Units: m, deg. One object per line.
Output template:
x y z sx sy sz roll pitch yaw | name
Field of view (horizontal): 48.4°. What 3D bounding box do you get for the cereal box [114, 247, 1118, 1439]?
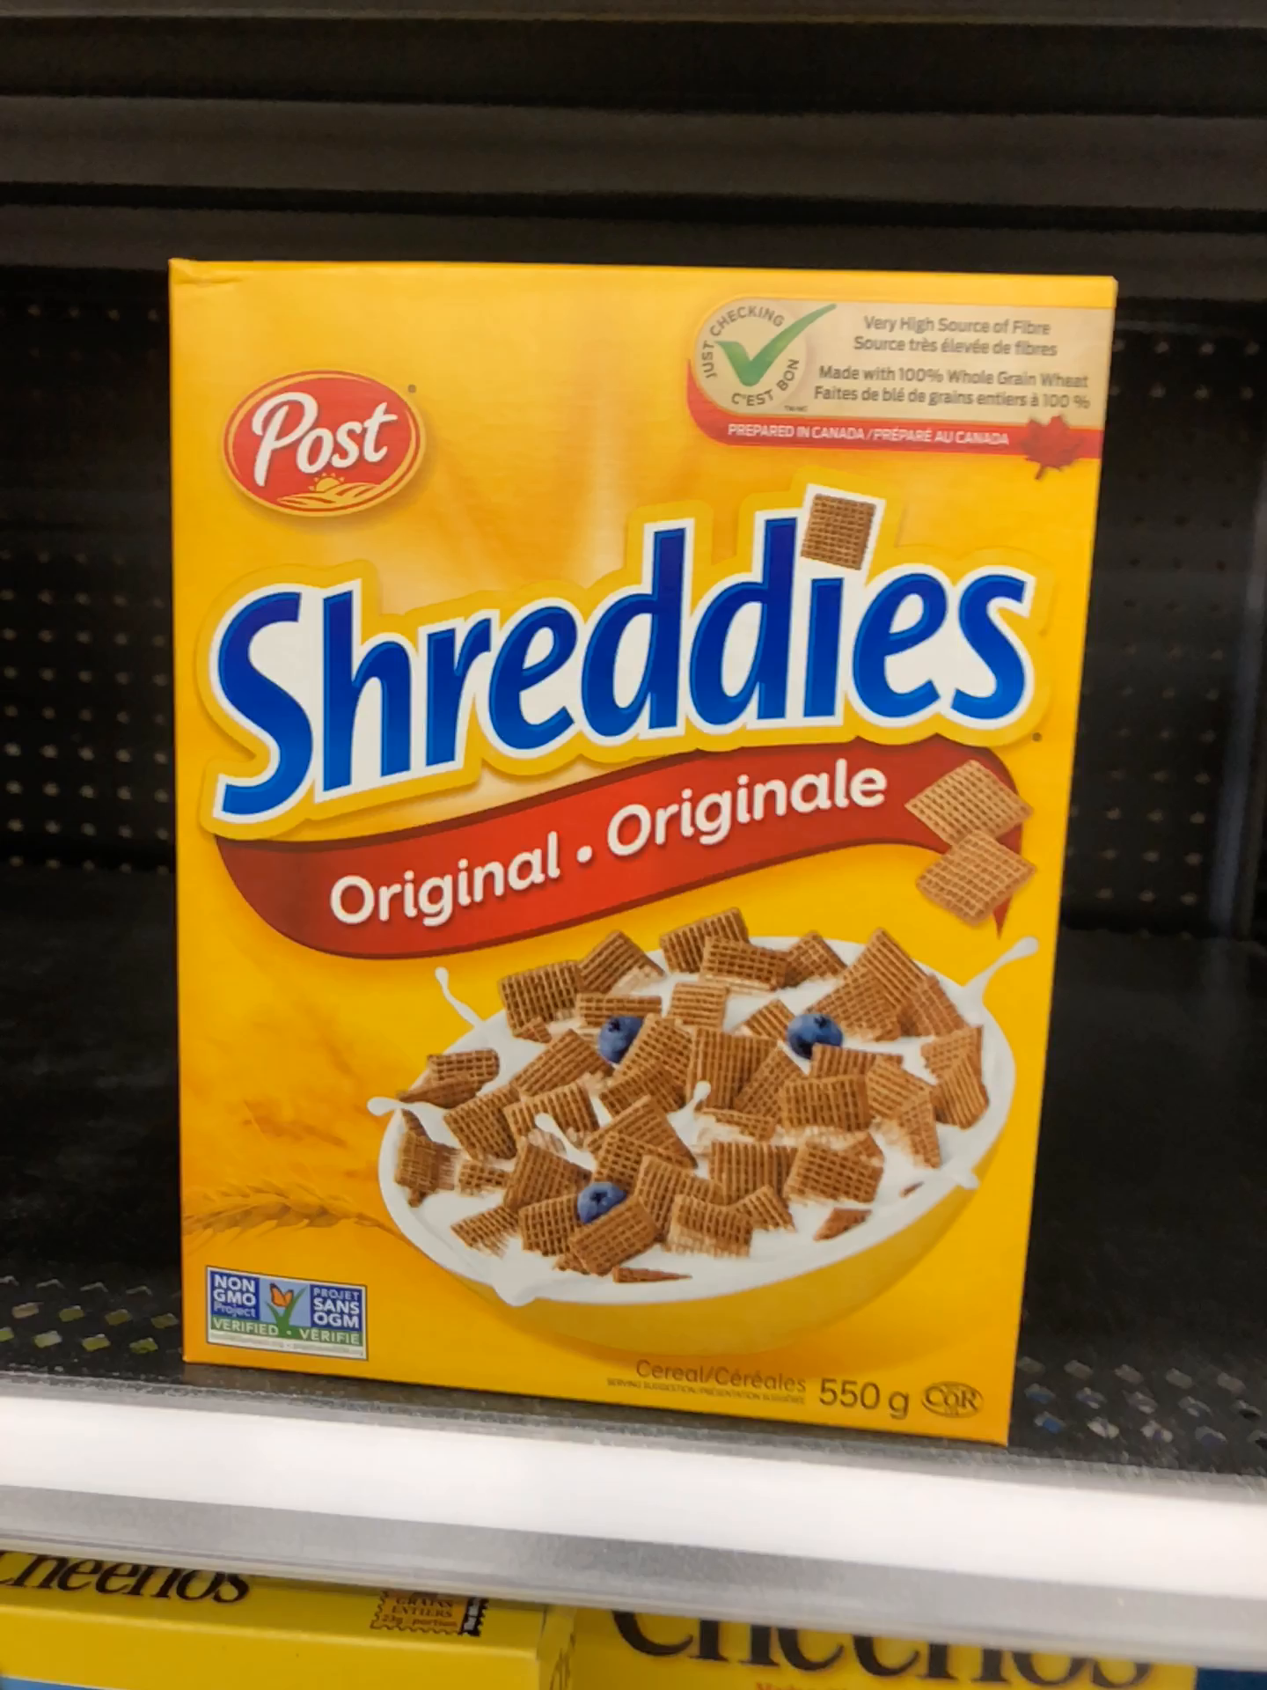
-0.009 -0.001 0.350 0.210 0.259 0.070 3 10 4 | cereal box
